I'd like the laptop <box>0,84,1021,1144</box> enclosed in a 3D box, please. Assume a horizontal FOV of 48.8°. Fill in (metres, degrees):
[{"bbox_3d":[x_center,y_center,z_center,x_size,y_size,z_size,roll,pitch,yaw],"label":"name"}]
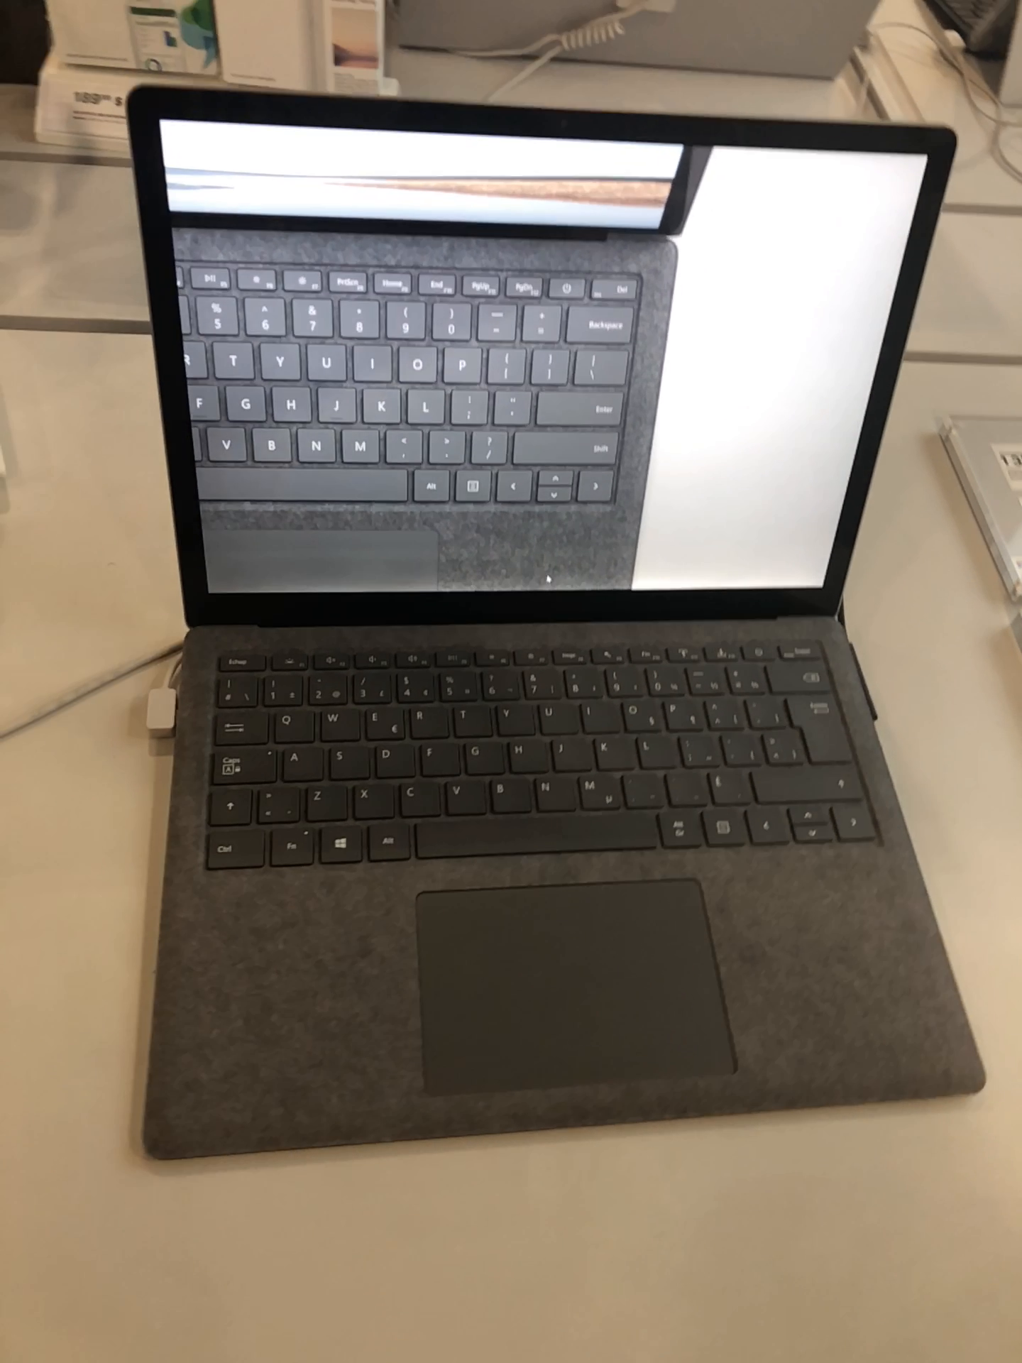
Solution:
[{"bbox_3d":[0.022,-0.026,0.403,0.297,0.197,0.295,-1,56,-8],"label":"laptop"}]
